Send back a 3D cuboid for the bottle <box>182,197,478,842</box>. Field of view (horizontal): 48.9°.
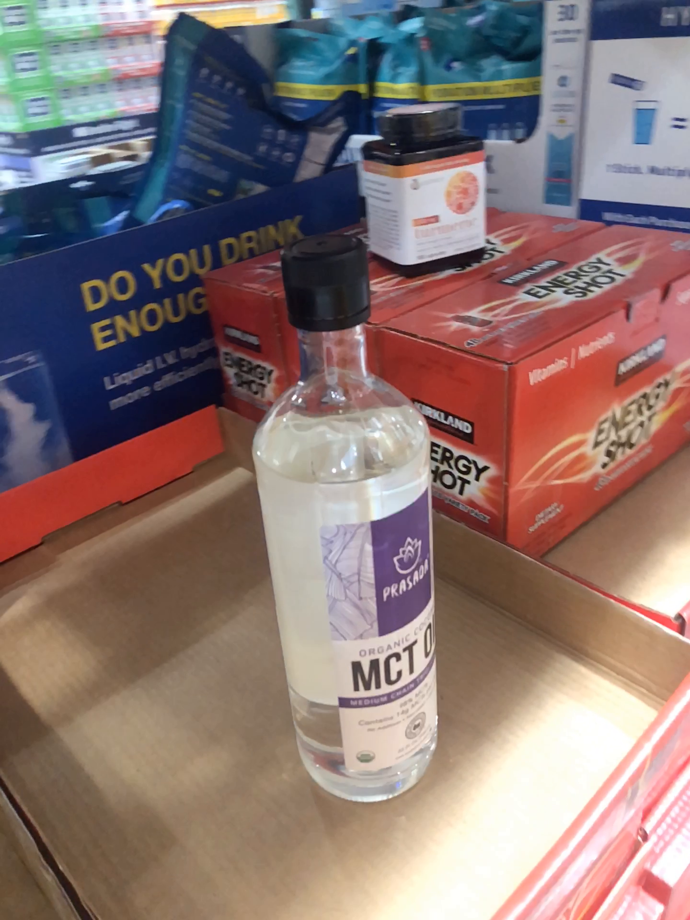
[{"bbox_3d":[0.006,0.038,0.356,0.078,0.290,0.080,-4,30,2],"label":"bottle"}]
